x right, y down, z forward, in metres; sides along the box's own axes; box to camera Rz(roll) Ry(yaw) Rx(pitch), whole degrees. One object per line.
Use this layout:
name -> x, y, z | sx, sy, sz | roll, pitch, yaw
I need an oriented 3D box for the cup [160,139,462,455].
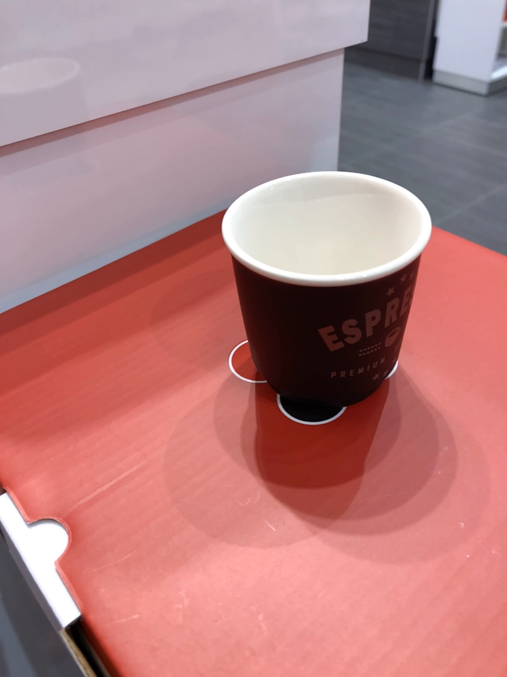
cup -> 0.020, -0.018, 0.184 | 0.060, 0.060, 0.070 | 22, 46, 28
